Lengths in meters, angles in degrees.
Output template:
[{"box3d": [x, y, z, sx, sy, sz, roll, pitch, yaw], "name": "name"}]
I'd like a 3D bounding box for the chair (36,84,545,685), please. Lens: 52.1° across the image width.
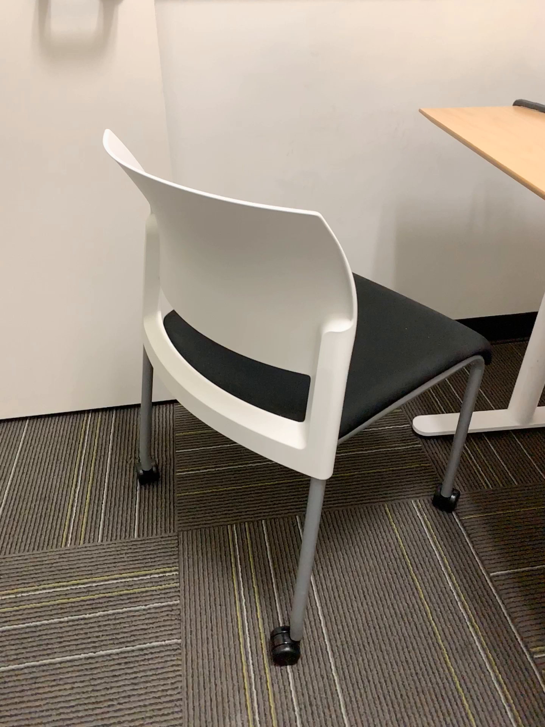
[{"box3d": [0.046, -0.026, 1.034, 0.581, 0.755, 0.613, -24, 42, -30], "name": "chair"}]
